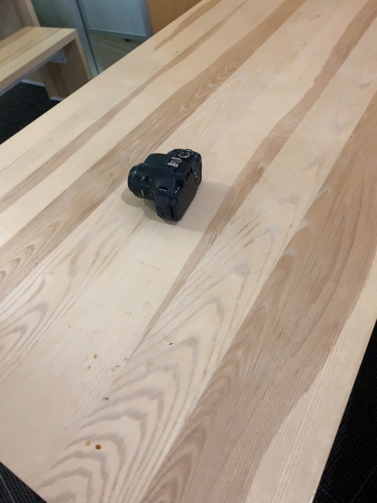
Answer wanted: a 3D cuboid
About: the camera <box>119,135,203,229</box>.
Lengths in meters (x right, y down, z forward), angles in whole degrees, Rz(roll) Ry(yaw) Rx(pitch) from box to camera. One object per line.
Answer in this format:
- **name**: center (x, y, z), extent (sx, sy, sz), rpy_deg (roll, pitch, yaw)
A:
- **camera**: center (-0.047, -0.135, 0.745), extent (0.114, 0.101, 0.120), rpy_deg (18, 54, 15)
